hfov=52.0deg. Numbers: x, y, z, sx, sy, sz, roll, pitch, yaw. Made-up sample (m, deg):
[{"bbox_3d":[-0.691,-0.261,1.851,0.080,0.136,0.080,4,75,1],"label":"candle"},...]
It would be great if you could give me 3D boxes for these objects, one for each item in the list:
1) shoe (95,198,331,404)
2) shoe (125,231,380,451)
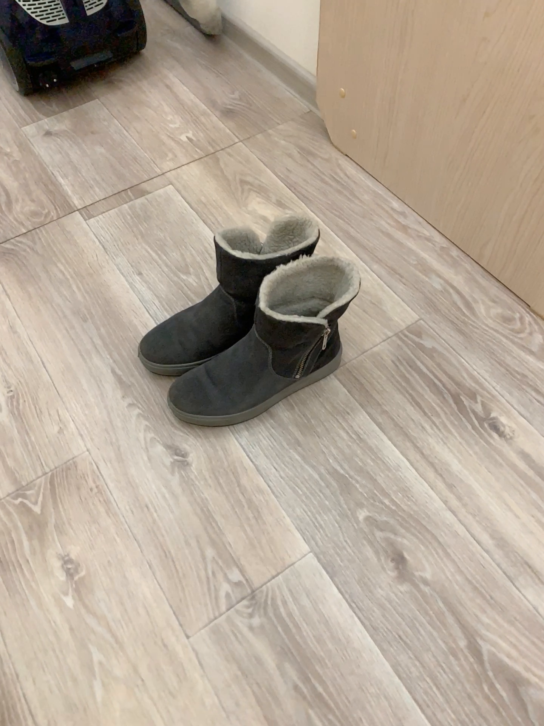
[{"bbox_3d":[-0.069,-0.081,0.755,0.270,0.179,0.100,-23,59,-13],"label":"shoe"},{"bbox_3d":[-0.018,-0.024,0.698,0.270,0.169,0.100,-24,60,-14],"label":"shoe"}]
